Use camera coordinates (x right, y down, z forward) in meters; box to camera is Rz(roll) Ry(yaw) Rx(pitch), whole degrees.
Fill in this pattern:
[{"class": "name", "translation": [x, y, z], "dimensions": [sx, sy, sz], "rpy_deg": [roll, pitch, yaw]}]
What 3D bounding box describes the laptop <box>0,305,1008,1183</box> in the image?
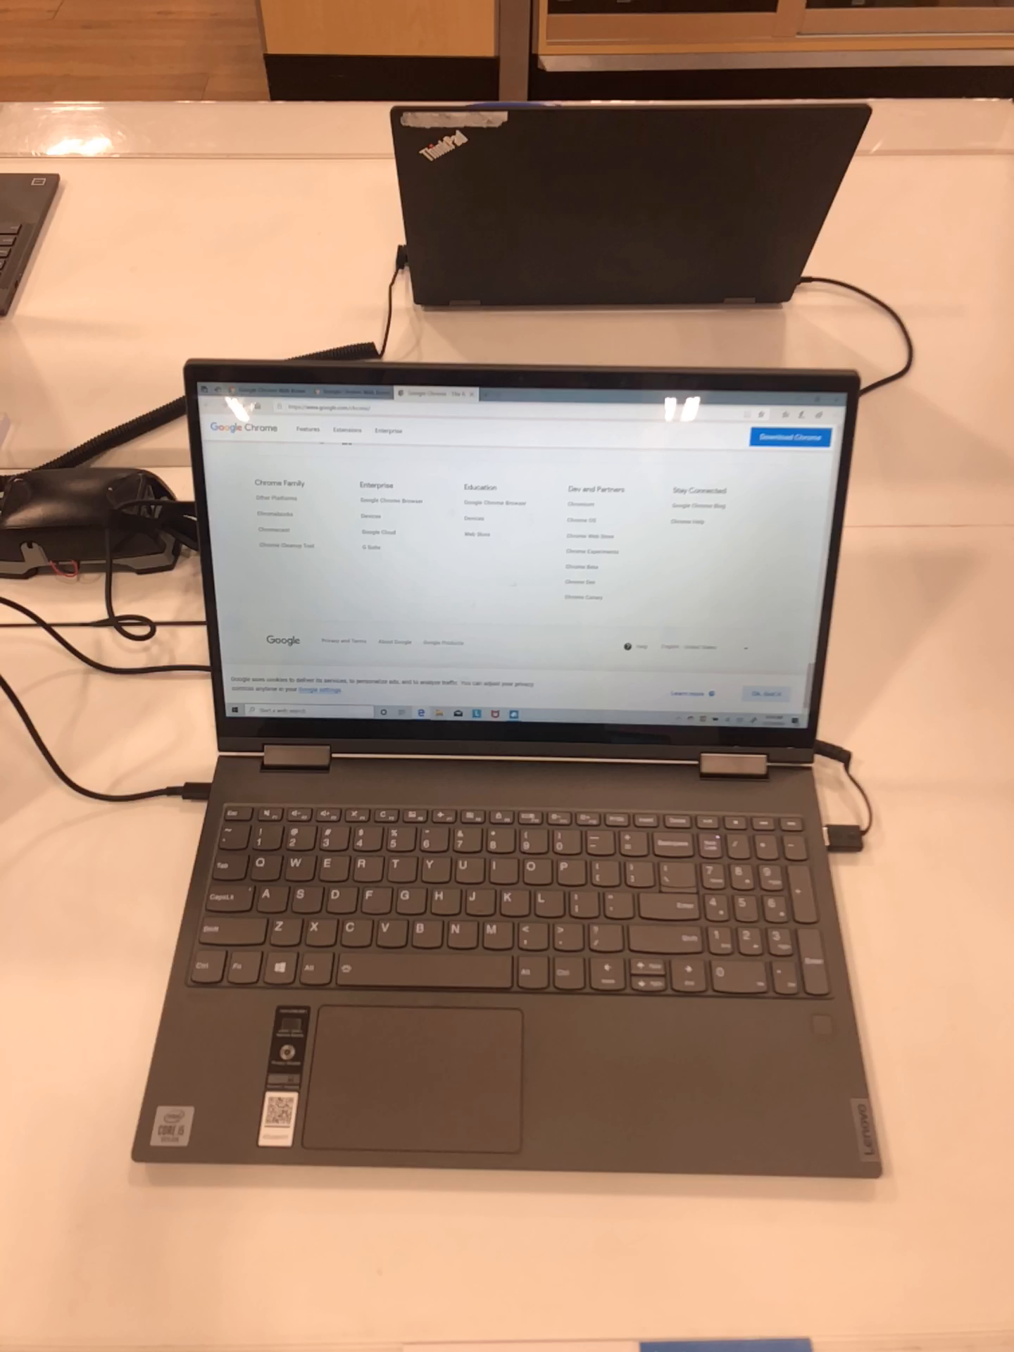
[{"class": "laptop", "translation": [-0.001, 0.024, 0.553], "dimensions": [0.352, 0.179, 0.365], "rpy_deg": [1, 58, 0]}]
